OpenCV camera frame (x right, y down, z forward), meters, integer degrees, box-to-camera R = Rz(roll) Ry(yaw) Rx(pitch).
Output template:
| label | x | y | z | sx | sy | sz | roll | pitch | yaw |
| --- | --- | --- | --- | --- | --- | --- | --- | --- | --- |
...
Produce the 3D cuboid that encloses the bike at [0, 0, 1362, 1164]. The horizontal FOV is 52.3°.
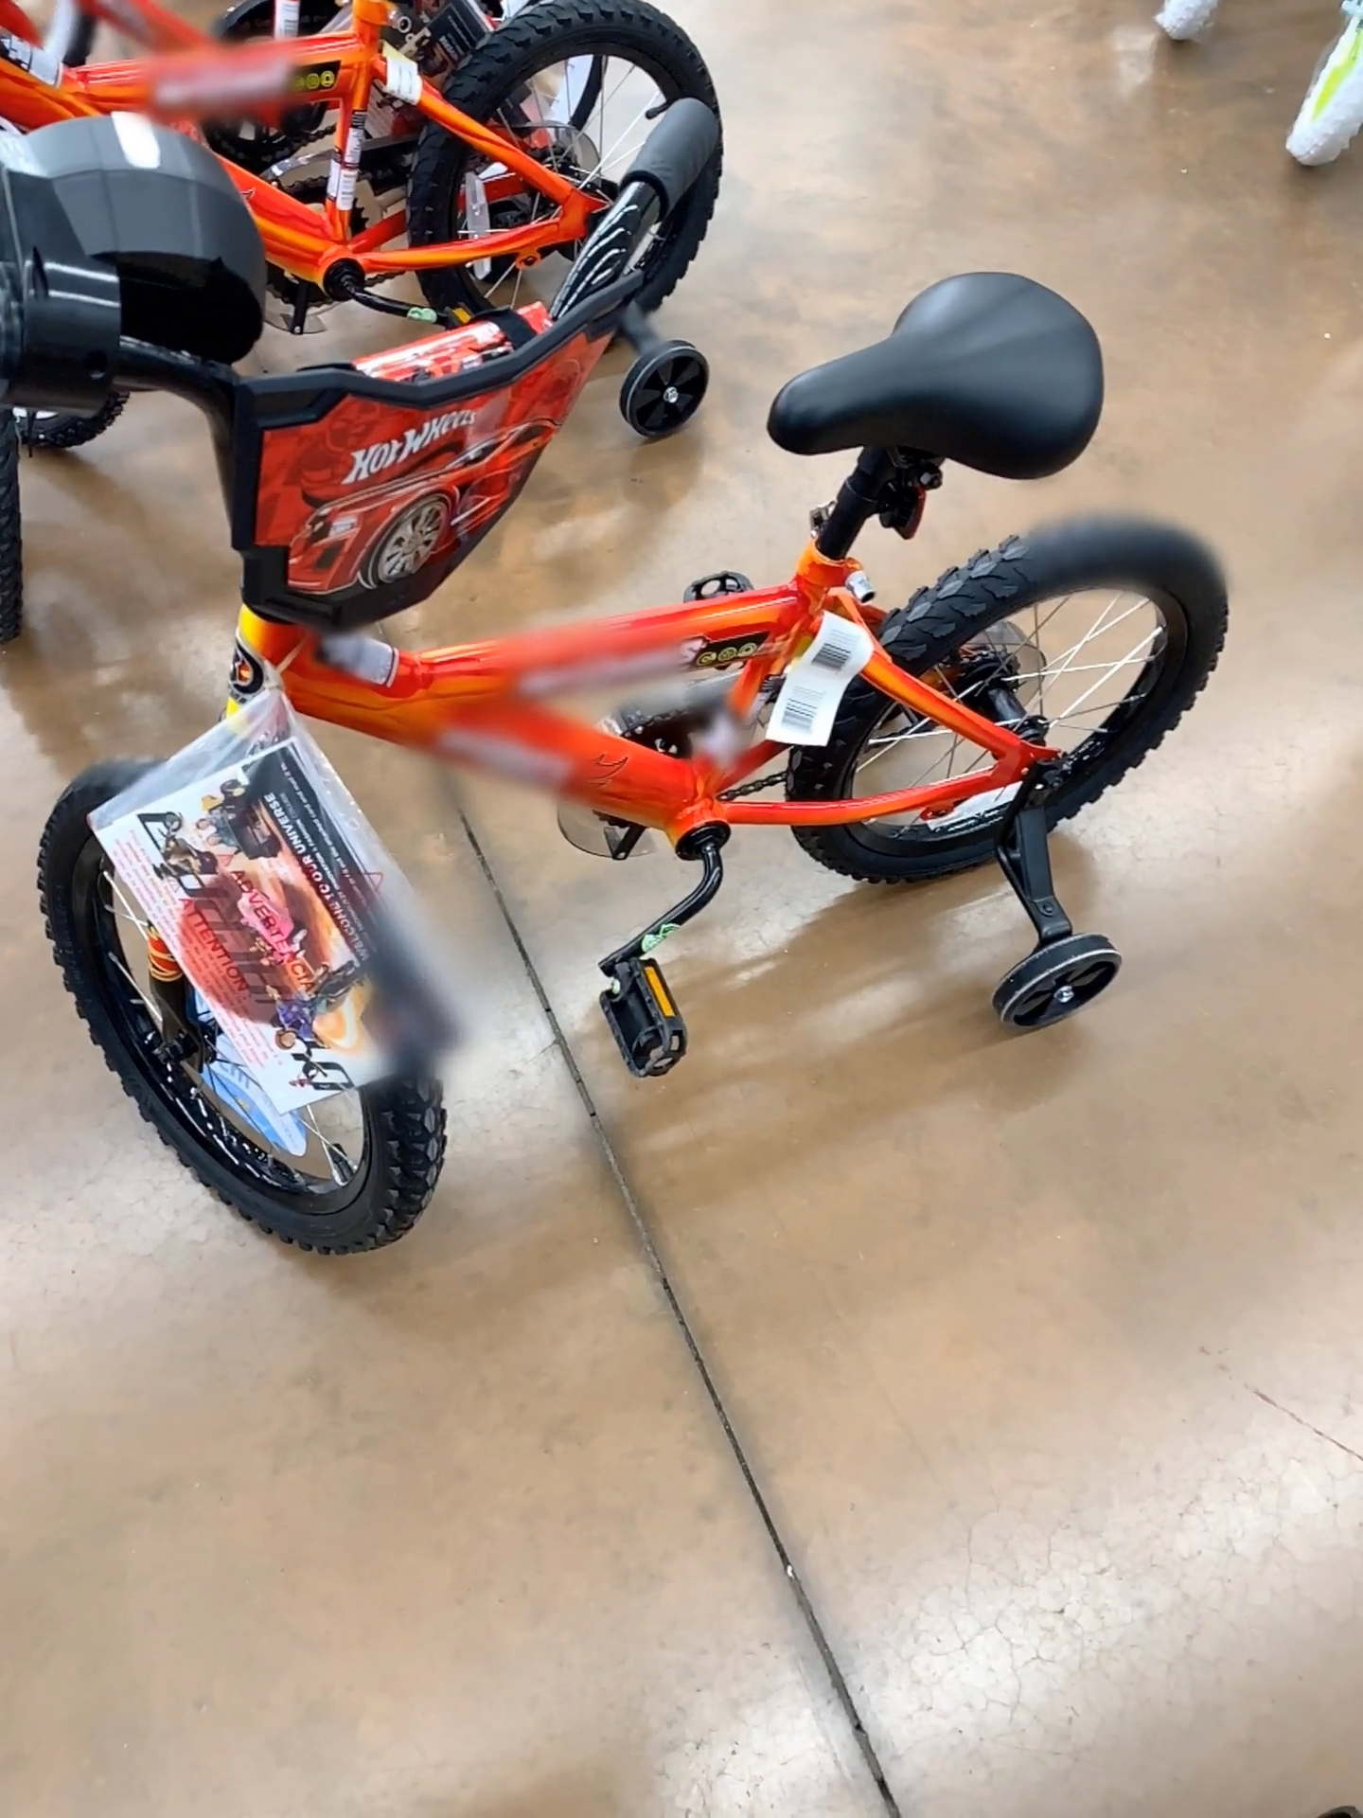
| label | x | y | z | sx | sy | sz | roll | pitch | yaw |
| --- | --- | --- | --- | --- | --- | --- | --- | --- | --- |
| bike | -0.061 | -0.281 | 1.056 | 0.994 | 0.821 | 0.504 | -15 | 58 | -4 |
